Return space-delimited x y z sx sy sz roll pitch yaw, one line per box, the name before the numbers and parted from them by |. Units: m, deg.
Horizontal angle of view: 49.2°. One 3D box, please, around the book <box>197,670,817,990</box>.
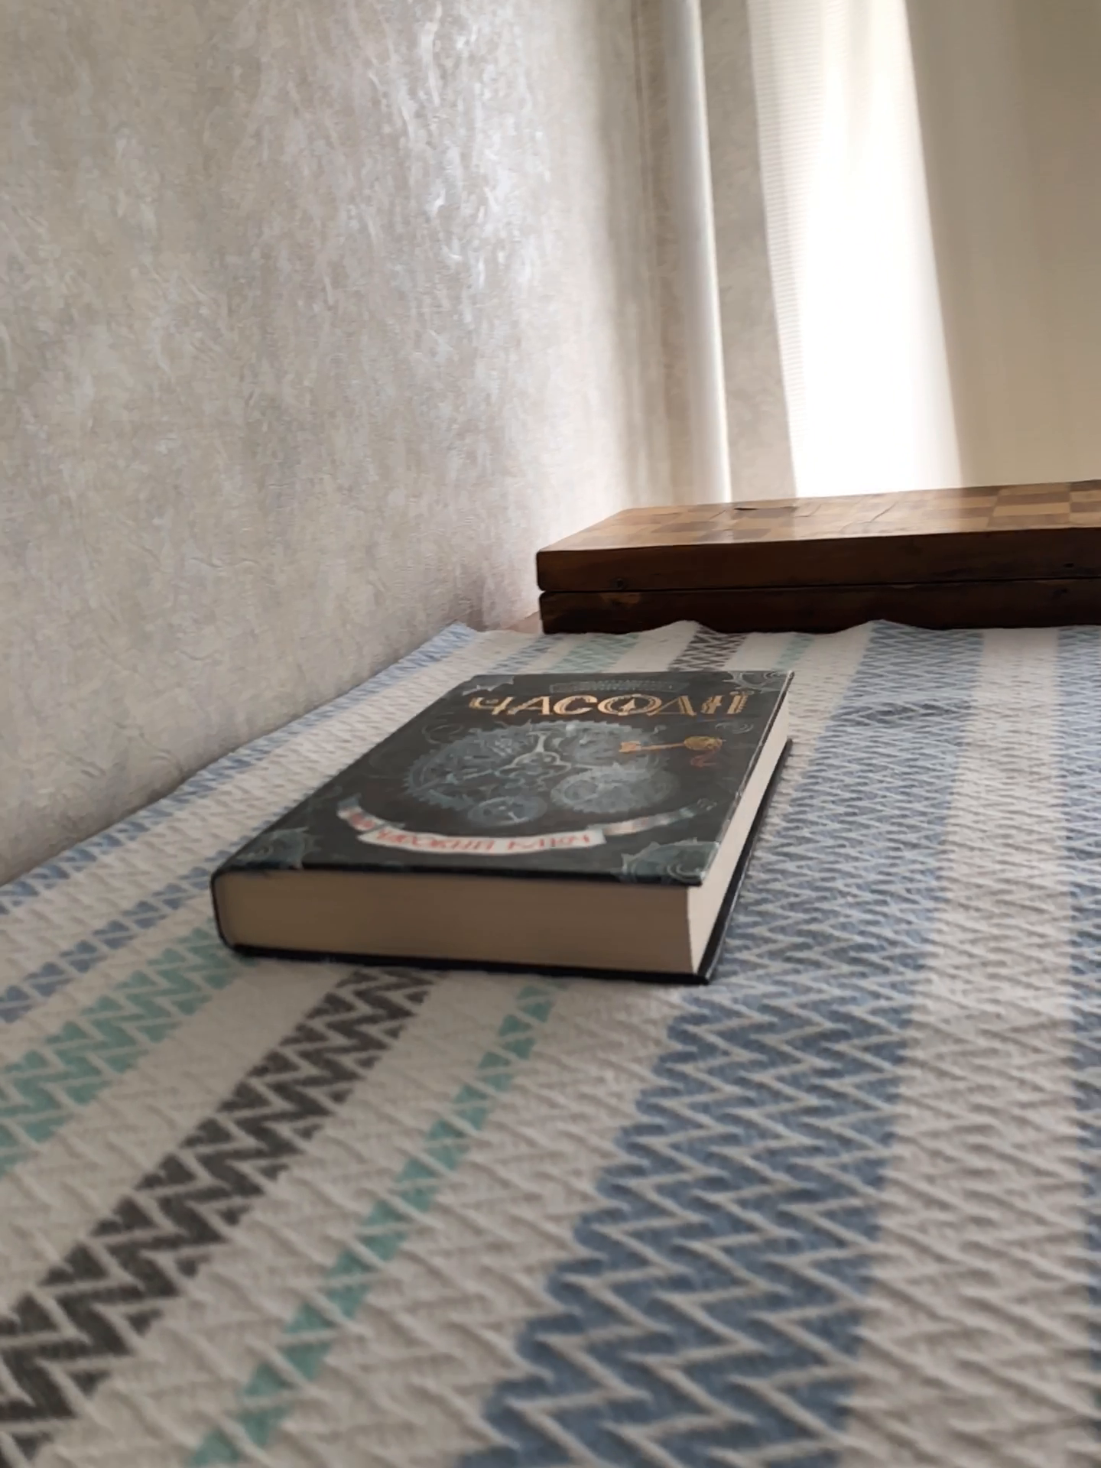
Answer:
book | 0.004 0.022 0.483 0.178 0.032 0.239 0 18 18
